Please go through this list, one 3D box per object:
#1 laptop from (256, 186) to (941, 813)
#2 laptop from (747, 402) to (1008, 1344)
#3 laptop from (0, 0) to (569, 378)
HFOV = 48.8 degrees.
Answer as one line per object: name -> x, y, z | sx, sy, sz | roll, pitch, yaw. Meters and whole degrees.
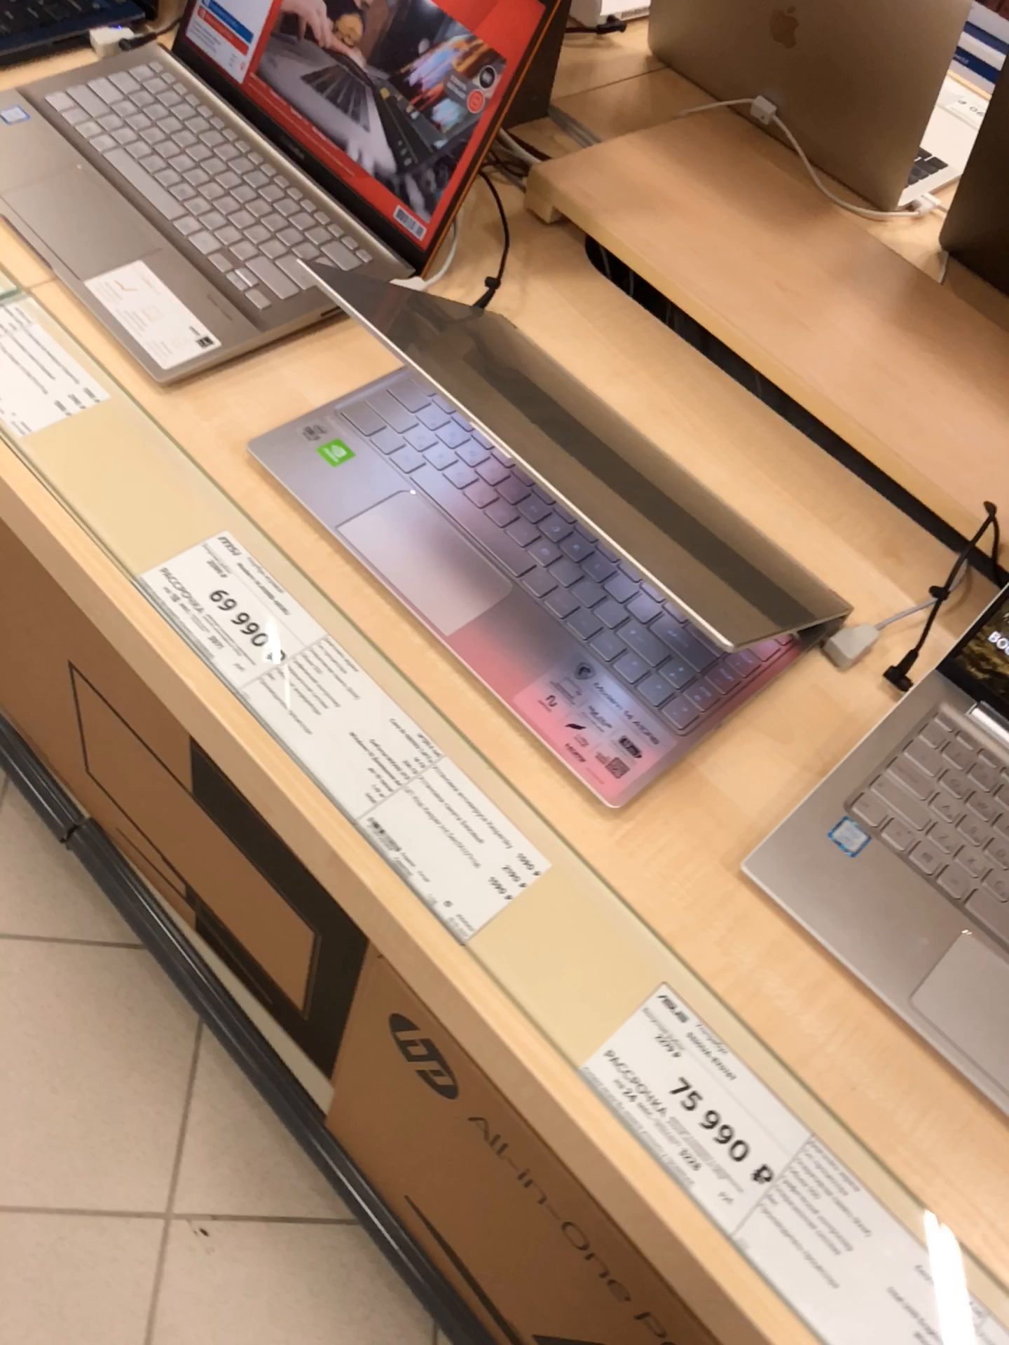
laptop -> 0.041, -0.118, 0.651 | 0.216, 0.113, 0.321 | -35, 68, -29
laptop -> 0.362, 0.085, 0.548 | 0.301, 0.154, 0.326 | -38, 69, -28
laptop -> -0.190, -0.421, 0.760 | 0.315, 0.170, 0.310 | -35, 69, -29
